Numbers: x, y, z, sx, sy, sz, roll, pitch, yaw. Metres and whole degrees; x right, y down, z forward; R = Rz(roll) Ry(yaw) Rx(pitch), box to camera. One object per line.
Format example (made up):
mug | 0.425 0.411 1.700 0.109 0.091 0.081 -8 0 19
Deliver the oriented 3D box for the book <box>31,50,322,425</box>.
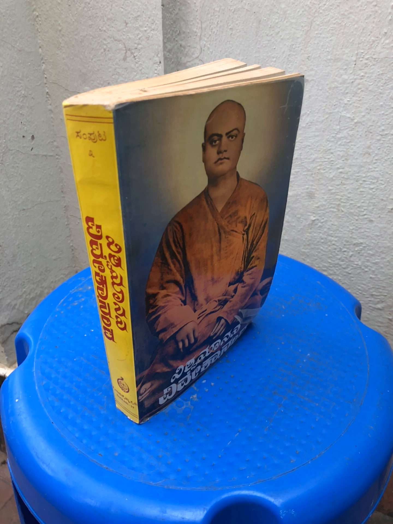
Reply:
book | 0.006 -0.027 0.304 0.050 0.199 0.191 24 39 36
